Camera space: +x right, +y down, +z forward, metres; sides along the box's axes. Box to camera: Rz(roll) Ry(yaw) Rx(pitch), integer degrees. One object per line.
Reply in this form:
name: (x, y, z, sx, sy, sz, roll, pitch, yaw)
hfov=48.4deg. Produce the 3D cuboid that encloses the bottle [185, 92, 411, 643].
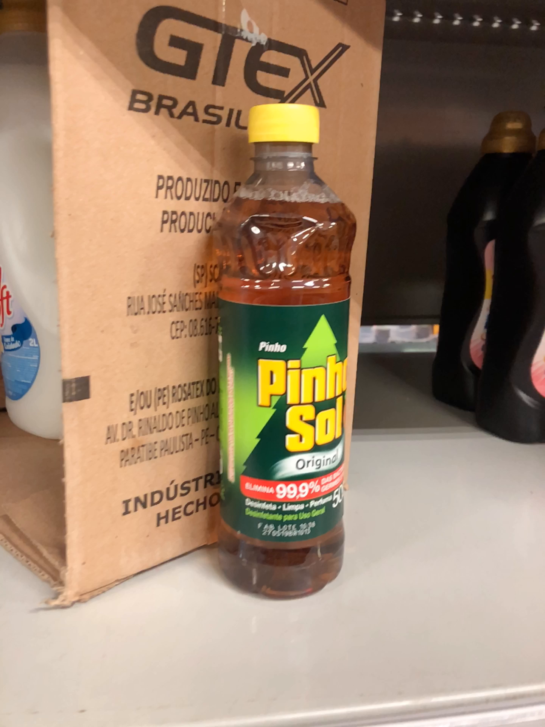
bottle: (0.006, 0.002, 0.276, 0.070, 0.219, 0.060, -9, 19, -37)
